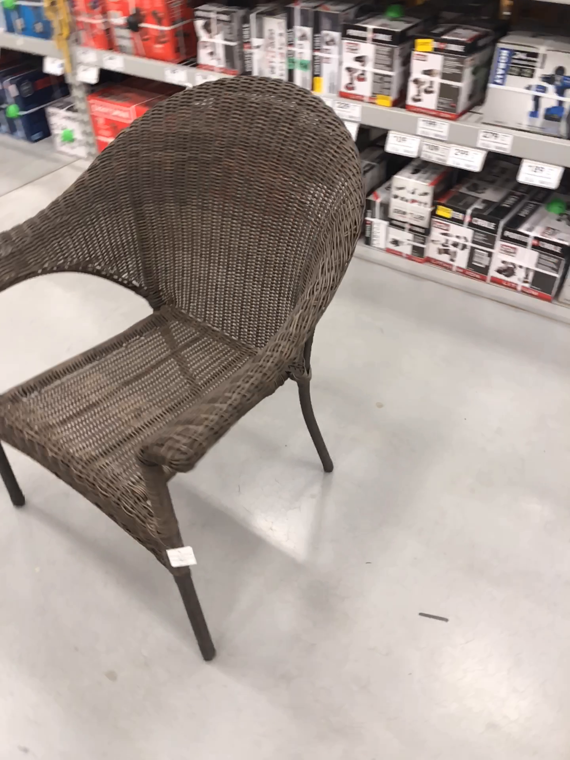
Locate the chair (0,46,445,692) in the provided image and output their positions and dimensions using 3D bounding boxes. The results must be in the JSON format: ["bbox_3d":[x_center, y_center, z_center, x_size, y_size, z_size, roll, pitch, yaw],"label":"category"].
[{"bbox_3d":[-0.240,-0.086,1.241,0.722,0.797,0.761,25,49,27],"label":"chair"}]
